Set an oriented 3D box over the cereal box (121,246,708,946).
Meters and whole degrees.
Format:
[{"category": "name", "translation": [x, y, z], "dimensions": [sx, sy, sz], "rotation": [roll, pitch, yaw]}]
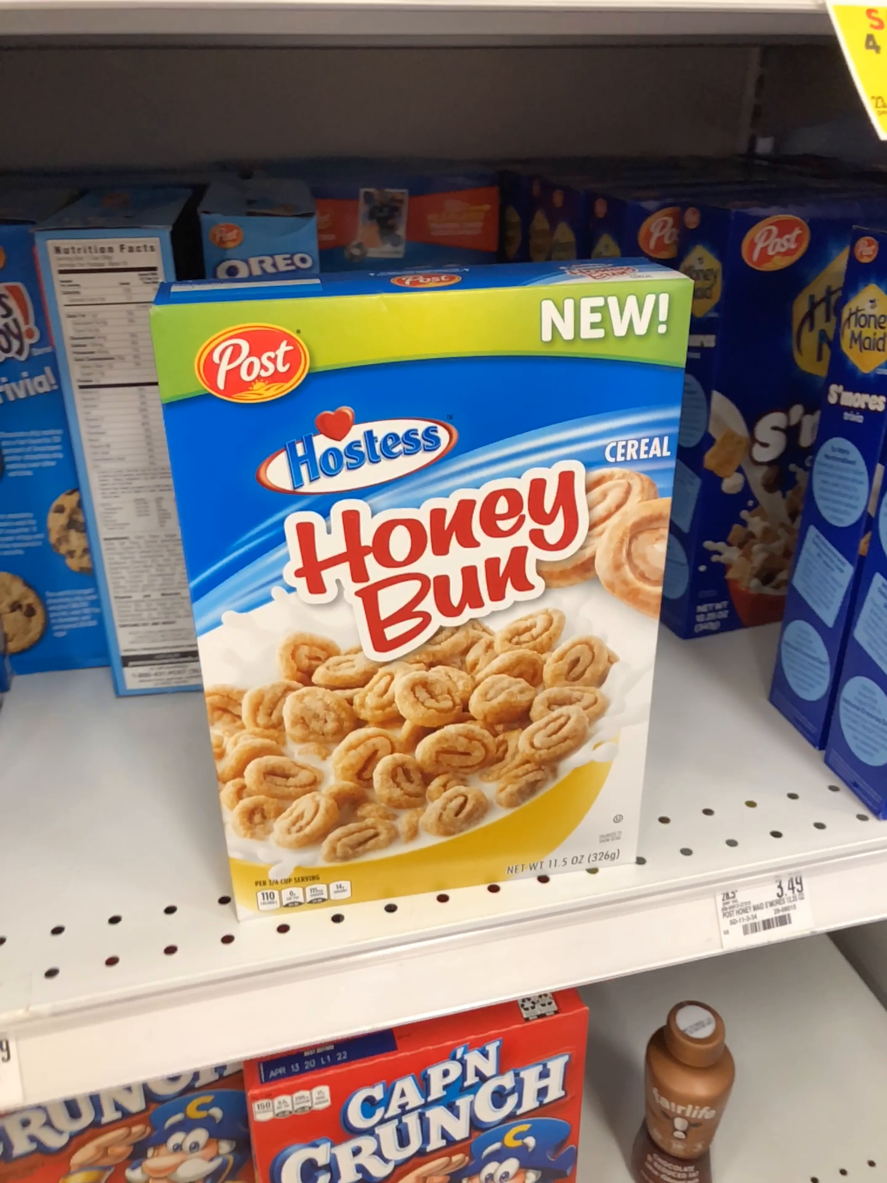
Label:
[{"category": "cereal box", "translation": [-0.010, 0.006, 0.438], "dimensions": [0.210, 0.289, 0.070], "rotation": [-6, 25, -10]}]
